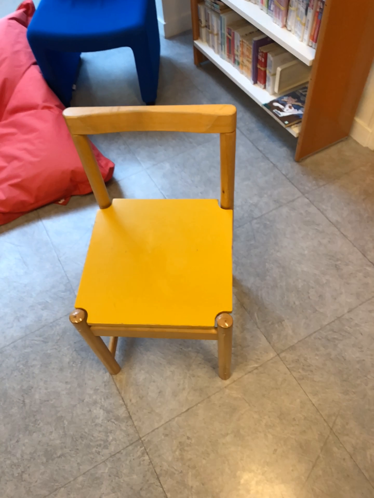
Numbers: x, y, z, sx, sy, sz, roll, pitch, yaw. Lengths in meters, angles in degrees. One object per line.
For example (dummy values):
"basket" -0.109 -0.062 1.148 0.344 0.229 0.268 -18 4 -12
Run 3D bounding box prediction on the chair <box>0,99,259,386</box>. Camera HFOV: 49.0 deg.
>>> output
"chair" -0.076 0.036 1.057 0.450 0.667 0.422 1 56 5
